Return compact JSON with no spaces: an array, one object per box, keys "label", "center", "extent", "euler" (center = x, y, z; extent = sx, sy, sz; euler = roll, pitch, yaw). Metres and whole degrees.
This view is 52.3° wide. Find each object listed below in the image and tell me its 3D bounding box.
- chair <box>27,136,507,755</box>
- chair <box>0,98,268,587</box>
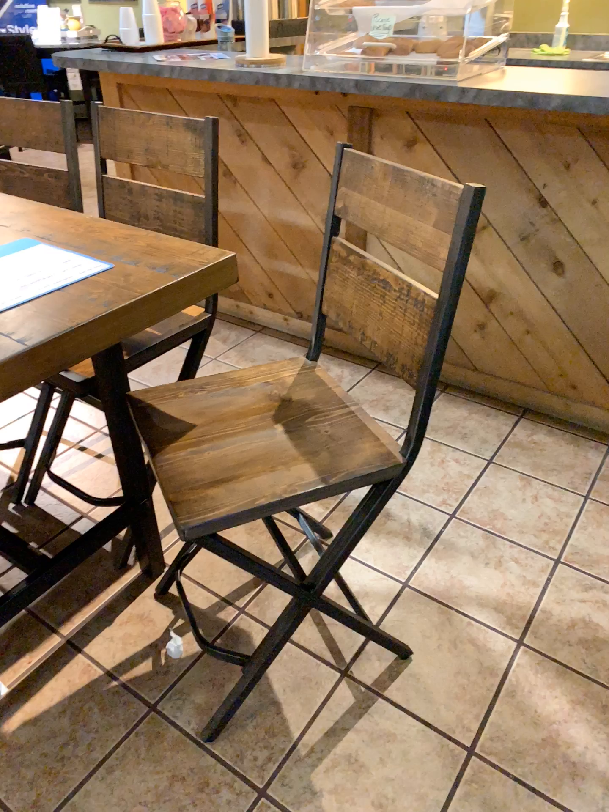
[{"label":"chair","center":[-0.055,0.079,1.201],"extent":[0.615,0.983,0.444],"euler":[-16,34,-16]},{"label":"chair","center":[-0.512,-0.176,1.607],"extent":[0.493,1.003,0.617],"euler":[21,42,29]}]
